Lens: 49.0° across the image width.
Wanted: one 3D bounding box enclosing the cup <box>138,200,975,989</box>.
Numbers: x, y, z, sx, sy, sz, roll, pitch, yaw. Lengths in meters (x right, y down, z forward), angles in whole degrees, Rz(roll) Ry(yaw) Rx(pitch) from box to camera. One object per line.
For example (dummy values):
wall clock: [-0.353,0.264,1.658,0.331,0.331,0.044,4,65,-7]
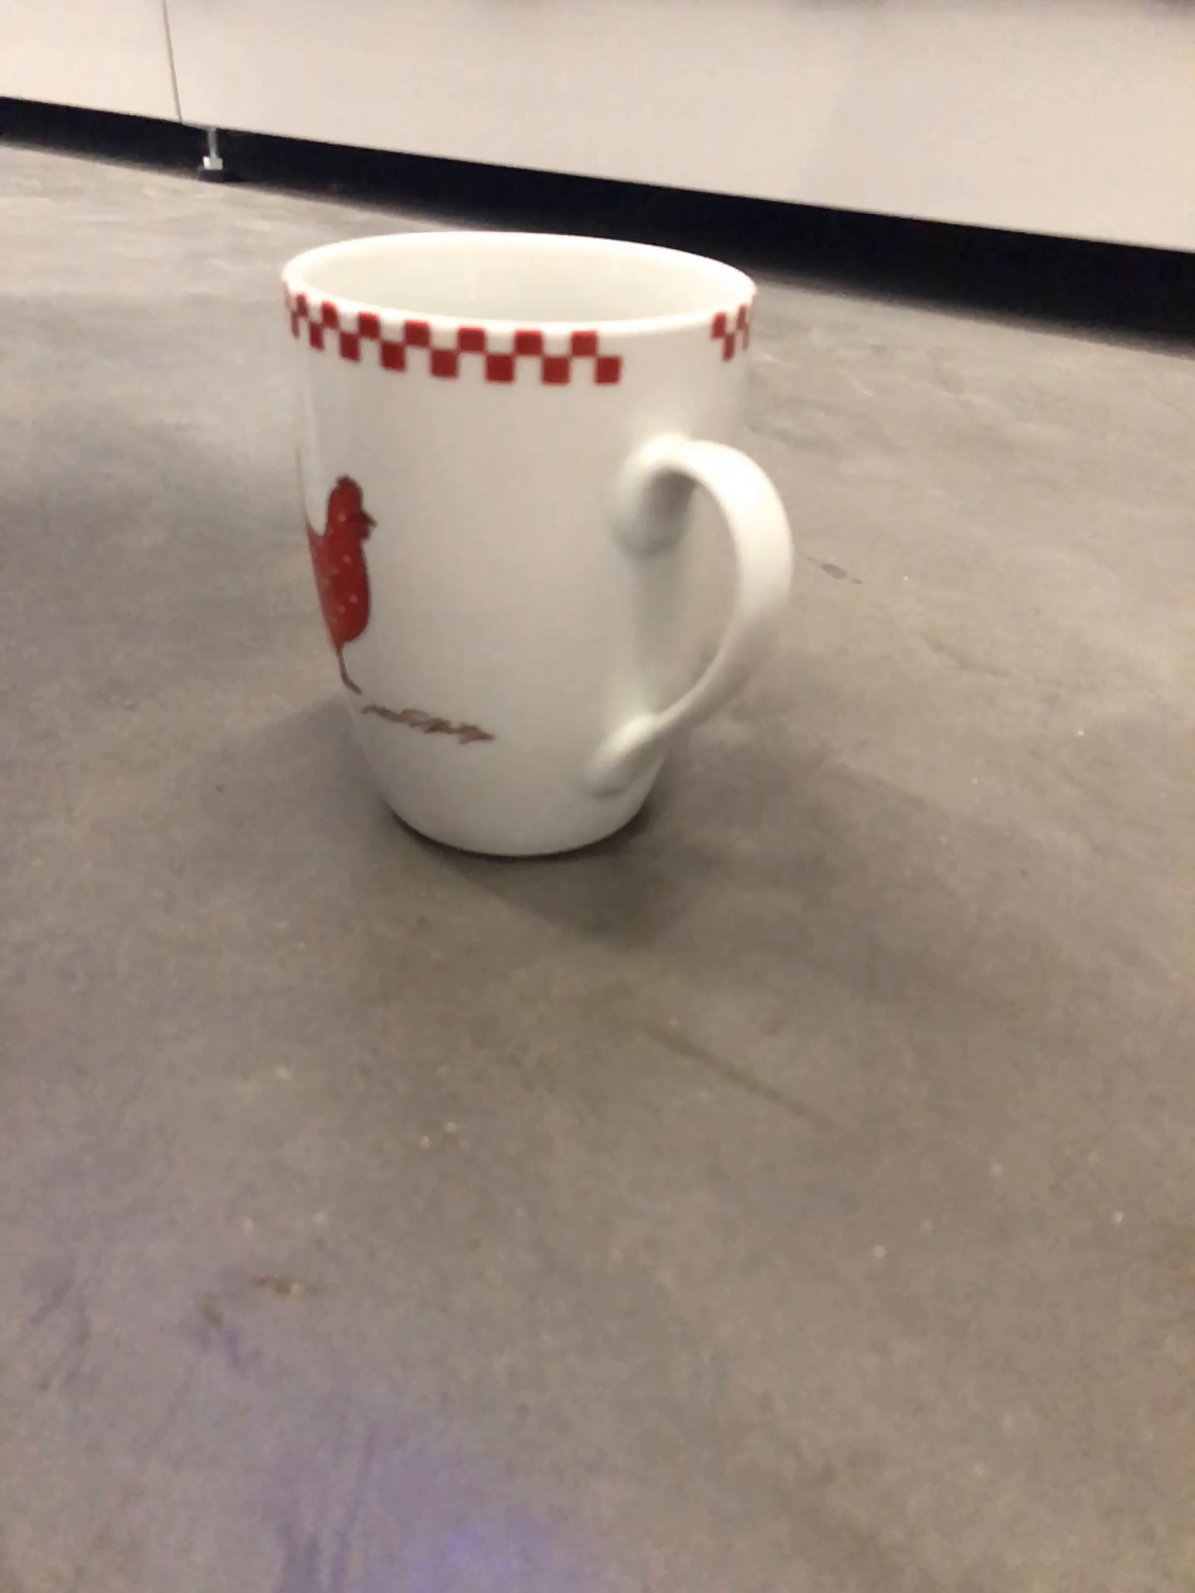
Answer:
cup: [-0.011,-0.046,0.230,0.088,0.092,0.103,-21,38,-34]
